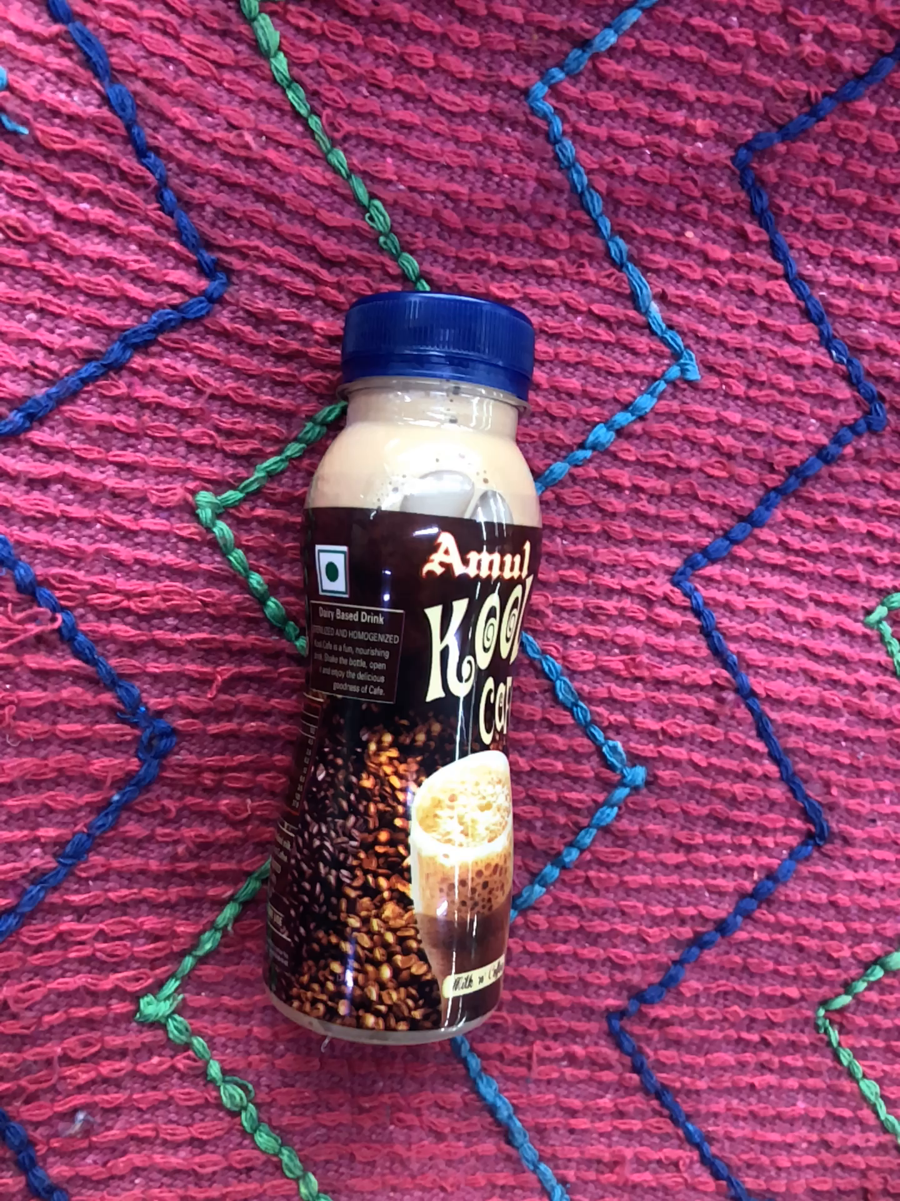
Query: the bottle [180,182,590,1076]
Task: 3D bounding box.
[{"bbox_3d":[-0.013,0.004,0.206,0.050,0.060,0.150,1,91,-57],"label":"bottle"}]
